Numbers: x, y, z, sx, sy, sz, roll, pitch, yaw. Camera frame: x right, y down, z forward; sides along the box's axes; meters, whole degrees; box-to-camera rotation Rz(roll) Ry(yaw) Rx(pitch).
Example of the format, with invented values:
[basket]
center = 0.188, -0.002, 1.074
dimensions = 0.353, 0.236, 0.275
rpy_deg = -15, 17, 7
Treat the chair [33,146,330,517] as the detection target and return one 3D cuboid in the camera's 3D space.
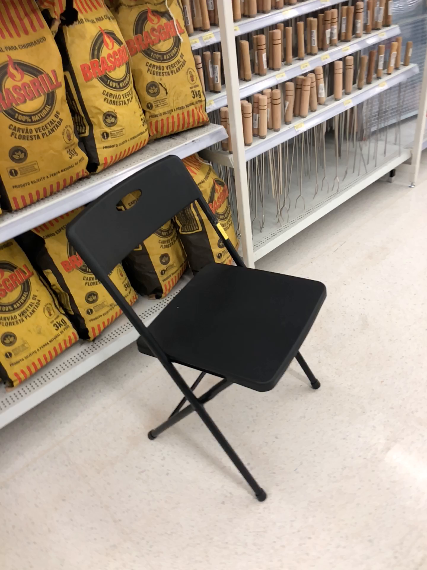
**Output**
[chair]
center = -0.004, 0.096, 1.184
dimensions = 0.451, 0.715, 0.462
rpy_deg = 13, 41, 28
